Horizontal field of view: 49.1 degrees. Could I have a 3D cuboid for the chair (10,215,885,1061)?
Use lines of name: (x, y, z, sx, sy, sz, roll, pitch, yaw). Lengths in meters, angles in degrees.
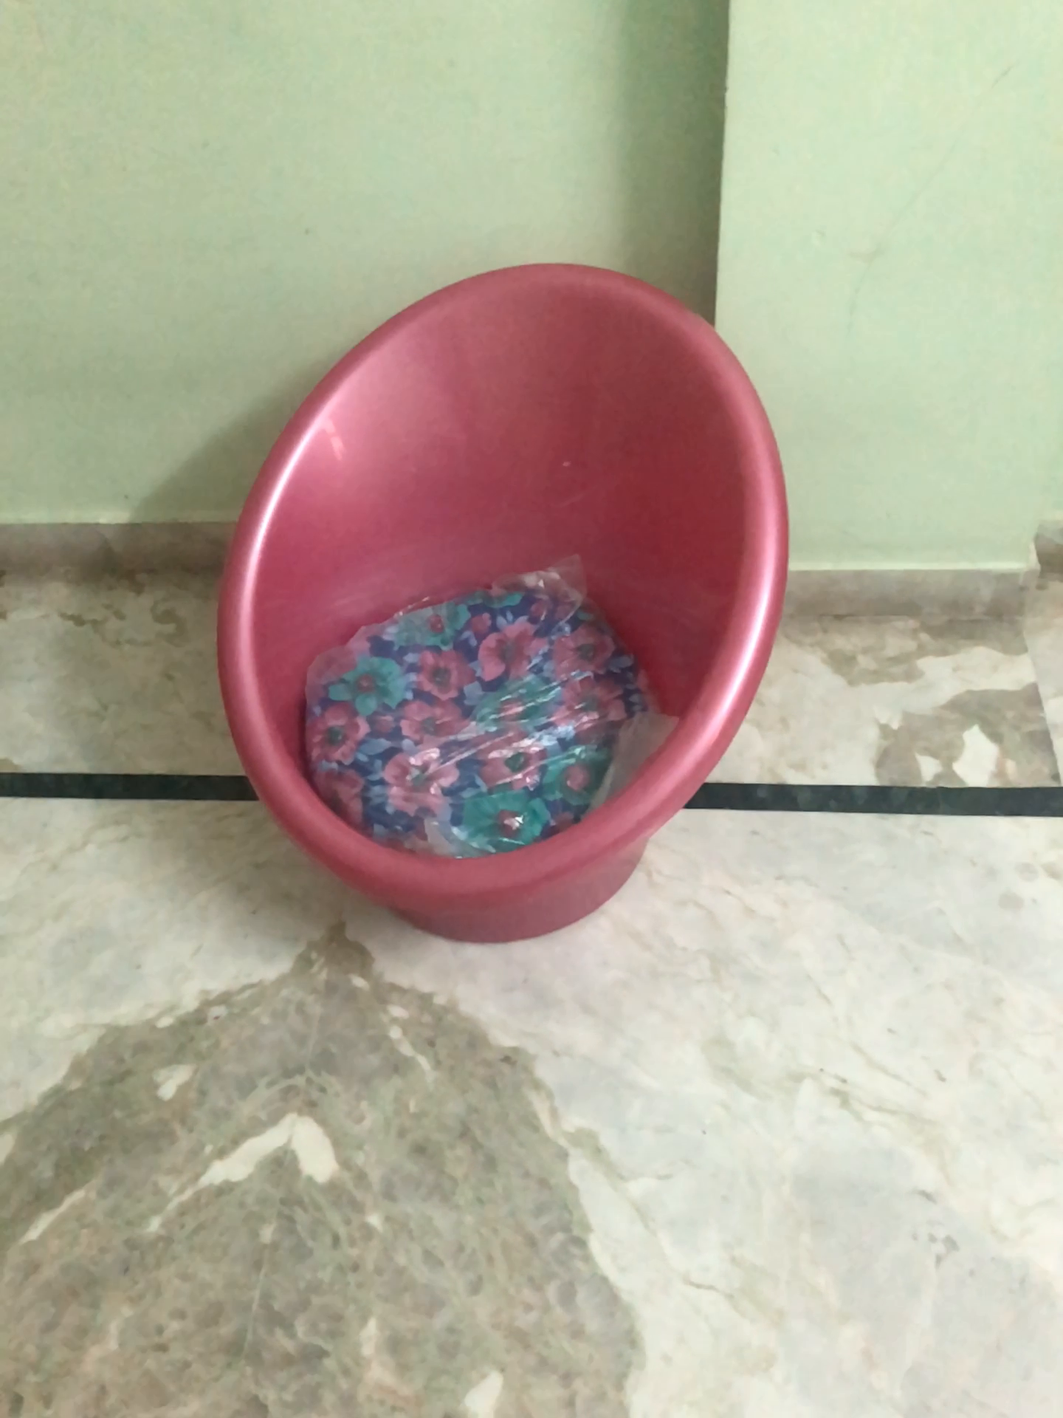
chair: (-0.044, -0.123, 1.390, 0.641, 0.547, 0.663, 21, 53, 23)
